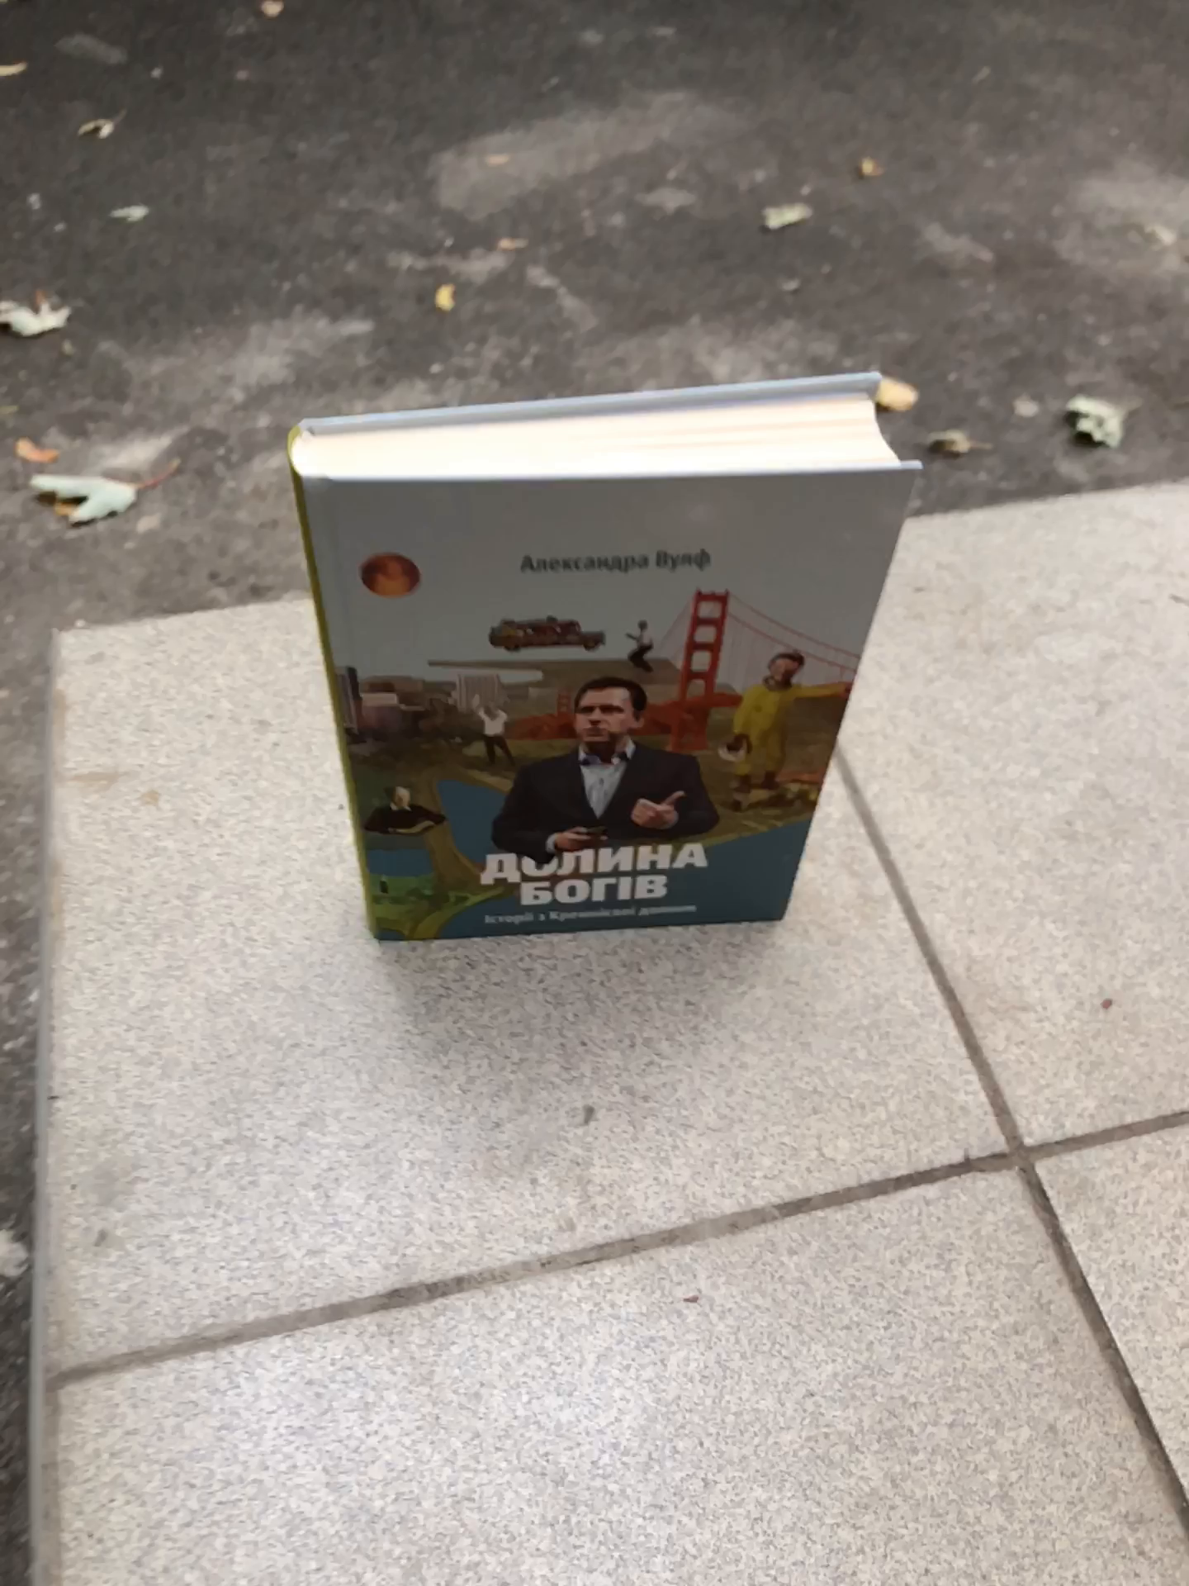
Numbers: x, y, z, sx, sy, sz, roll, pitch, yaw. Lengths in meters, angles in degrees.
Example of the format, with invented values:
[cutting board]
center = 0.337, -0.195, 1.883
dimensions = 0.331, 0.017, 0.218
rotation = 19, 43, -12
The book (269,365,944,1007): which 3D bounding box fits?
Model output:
[book]
center = -0.001, -0.020, 0.402
dimensions = 0.160, 0.208, 0.045
rotation = -8, 51, -9
